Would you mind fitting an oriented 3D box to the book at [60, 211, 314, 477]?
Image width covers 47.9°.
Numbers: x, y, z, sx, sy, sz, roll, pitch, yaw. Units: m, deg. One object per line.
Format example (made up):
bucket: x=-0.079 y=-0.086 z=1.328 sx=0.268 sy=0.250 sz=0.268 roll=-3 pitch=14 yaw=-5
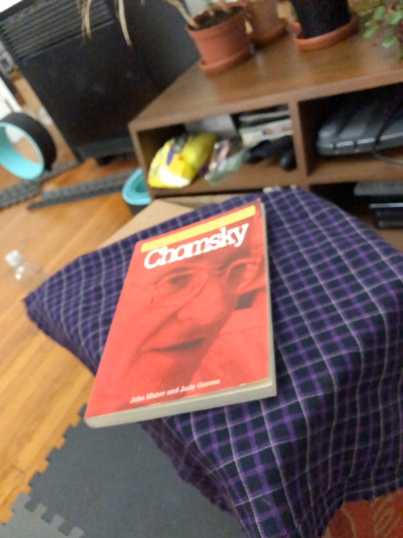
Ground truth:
book: x=-0.007 y=0.048 z=0.399 sx=0.180 sy=0.020 sz=0.241 roll=-16 pitch=36 yaw=17
